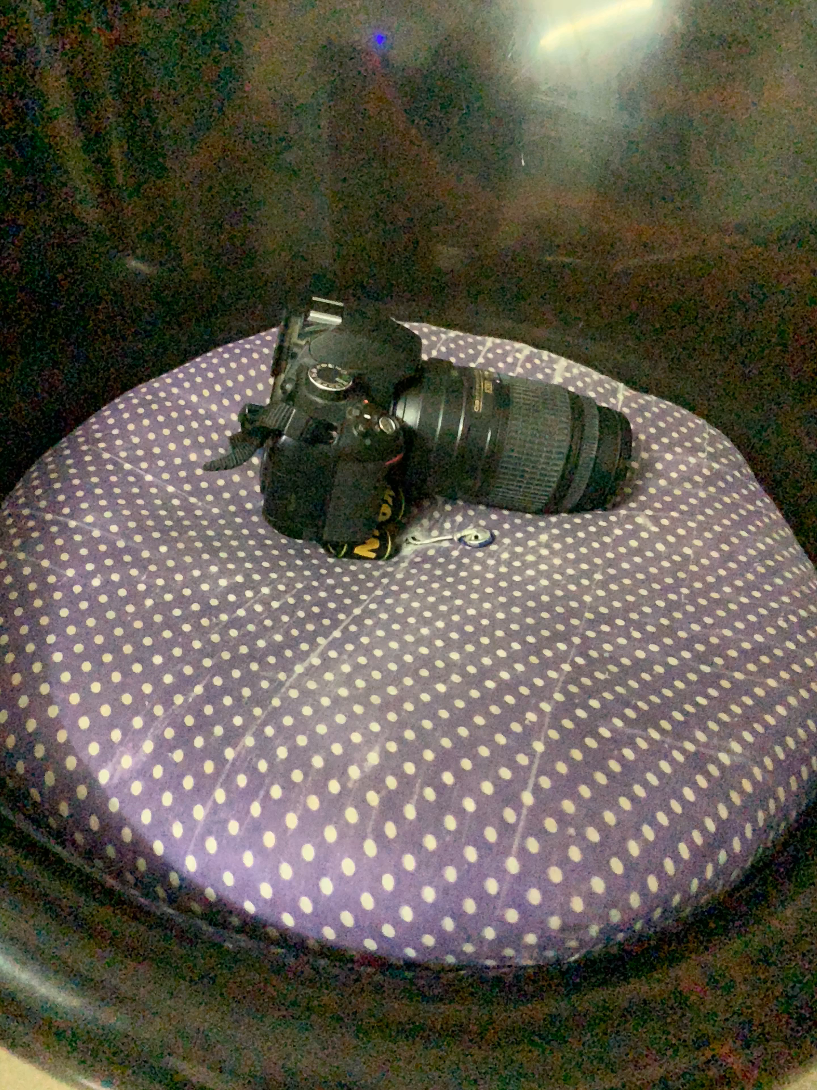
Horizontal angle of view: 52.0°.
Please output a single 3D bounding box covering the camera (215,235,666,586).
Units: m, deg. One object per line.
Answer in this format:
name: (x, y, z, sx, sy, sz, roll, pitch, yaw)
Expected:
camera: (0.009, -0.075, 0.459, 0.200, 0.100, 0.141, 8, 39, -10)
